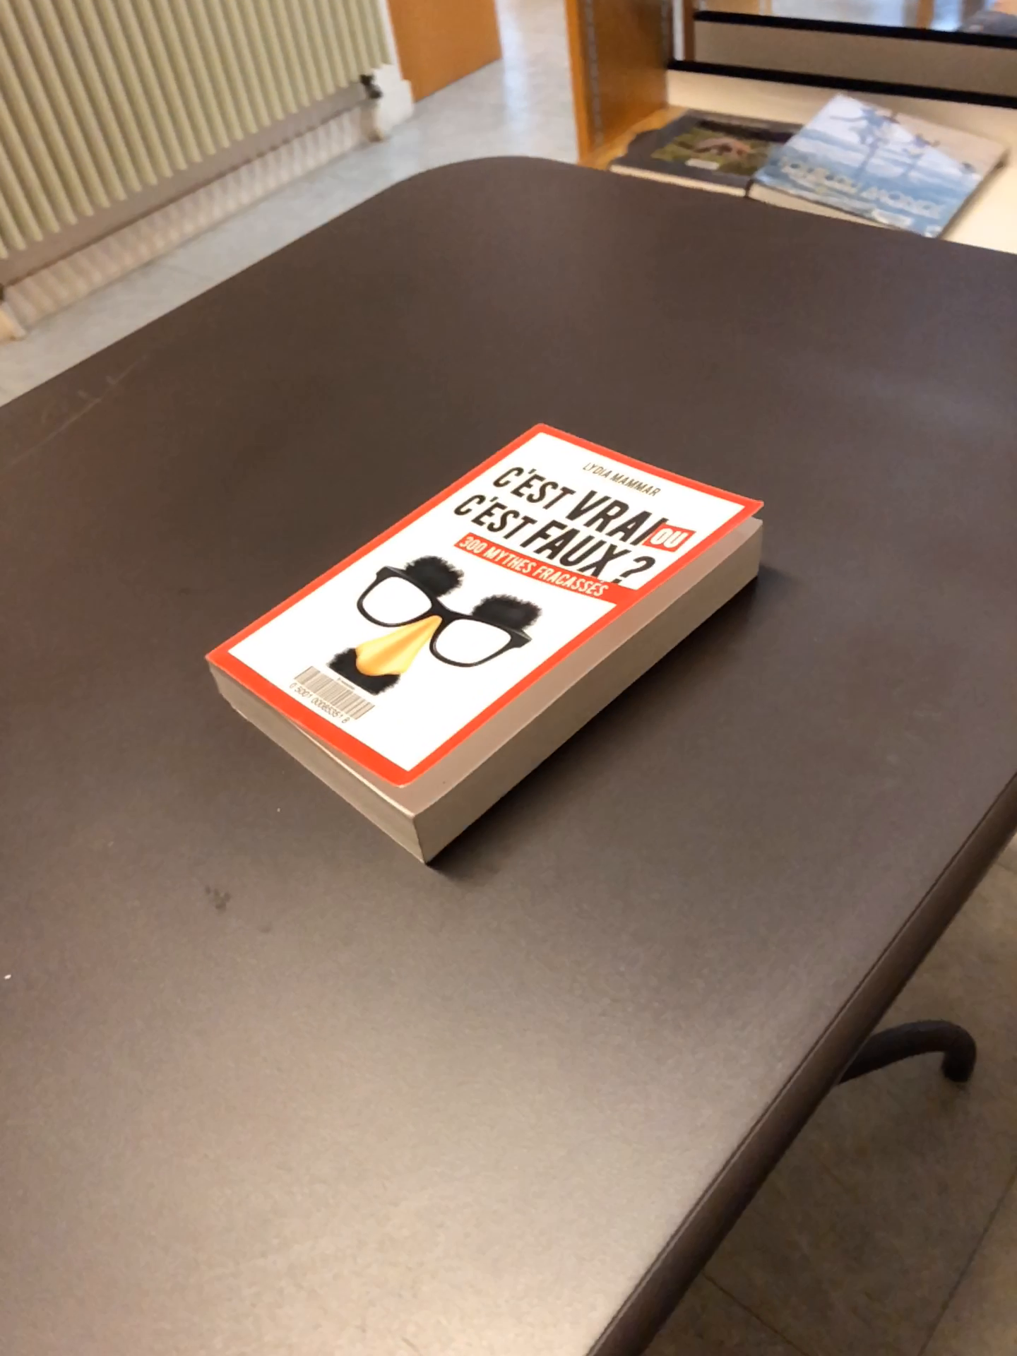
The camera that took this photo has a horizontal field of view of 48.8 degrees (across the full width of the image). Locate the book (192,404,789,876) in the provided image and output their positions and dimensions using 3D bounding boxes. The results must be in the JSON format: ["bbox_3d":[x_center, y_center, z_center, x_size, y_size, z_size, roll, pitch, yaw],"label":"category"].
[{"bbox_3d":[-0.004,-0.028,0.419,0.185,0.034,0.126,-39,47,-24],"label":"book"}]
